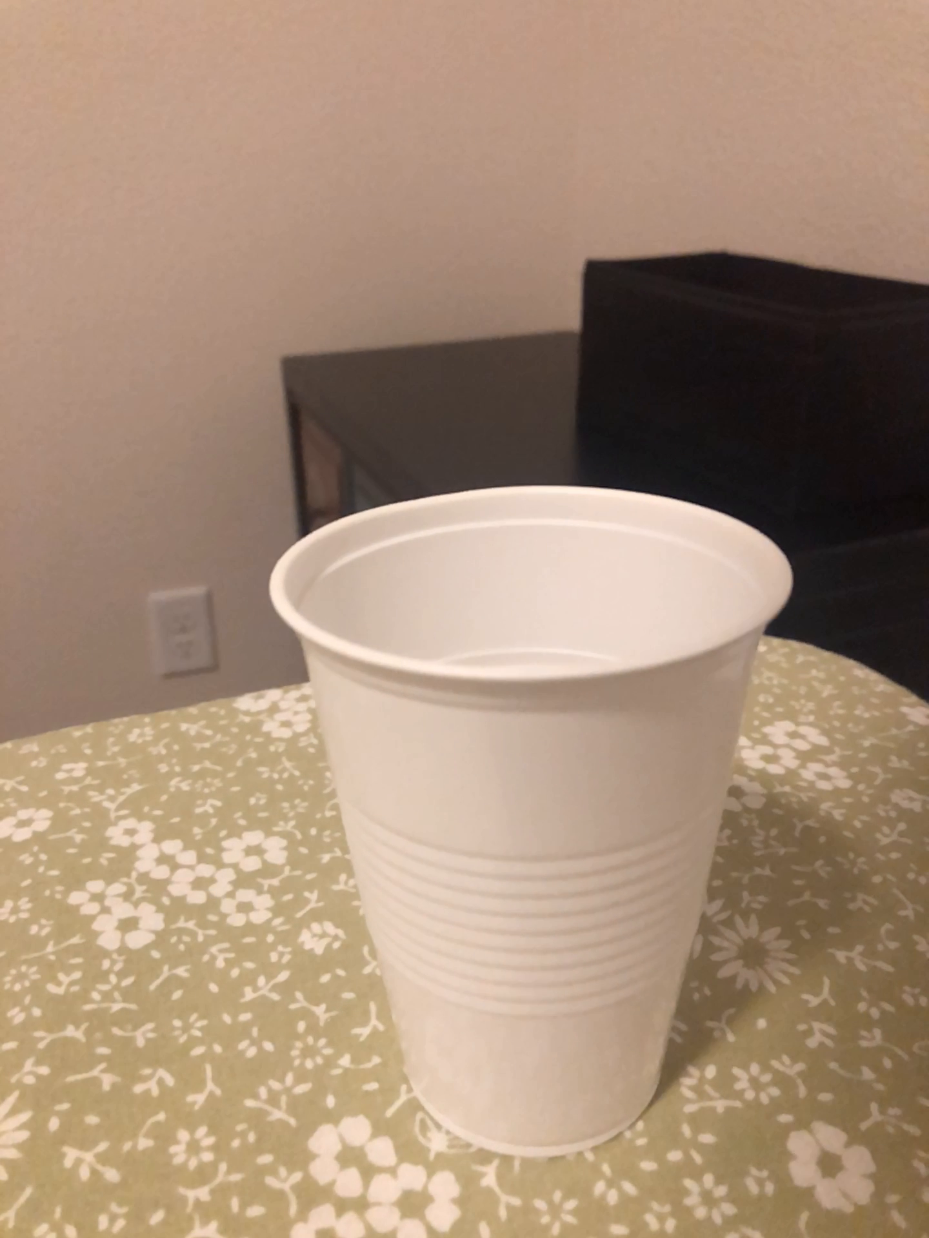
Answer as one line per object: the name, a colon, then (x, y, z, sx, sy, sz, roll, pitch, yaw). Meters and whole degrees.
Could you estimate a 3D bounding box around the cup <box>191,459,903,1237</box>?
cup: (0.012, 0.031, 0.179, 0.078, 0.090, 0.079, -1, 23, 1)
